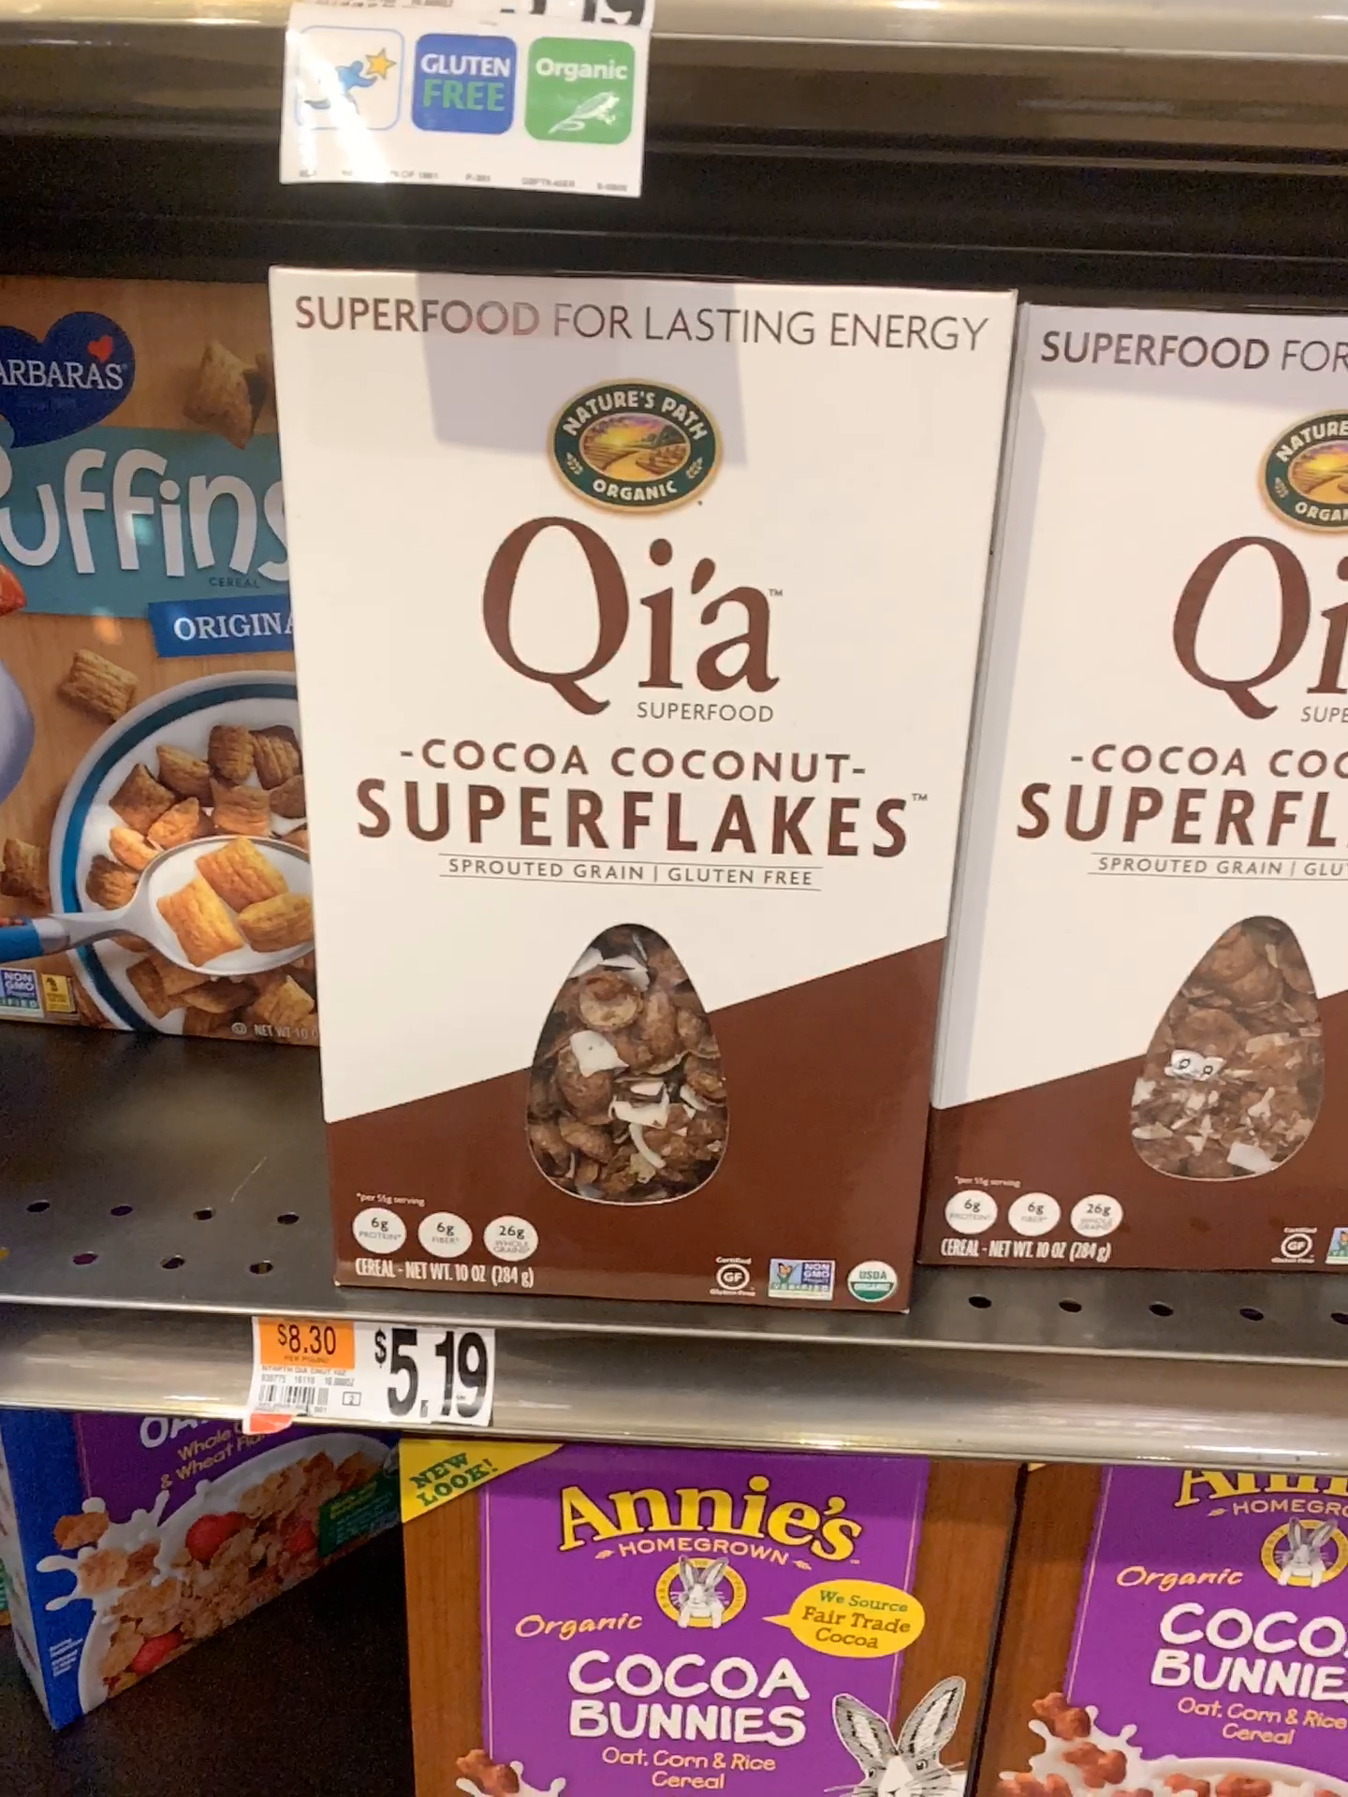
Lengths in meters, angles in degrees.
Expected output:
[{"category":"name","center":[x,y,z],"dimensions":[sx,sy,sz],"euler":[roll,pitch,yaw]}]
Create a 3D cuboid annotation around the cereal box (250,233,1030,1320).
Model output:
[{"category":"cereal box","center":[-0.011,-0.023,0.356],"dimensions":[0.160,0.259,0.060],"euler":[2,20,1]}]
